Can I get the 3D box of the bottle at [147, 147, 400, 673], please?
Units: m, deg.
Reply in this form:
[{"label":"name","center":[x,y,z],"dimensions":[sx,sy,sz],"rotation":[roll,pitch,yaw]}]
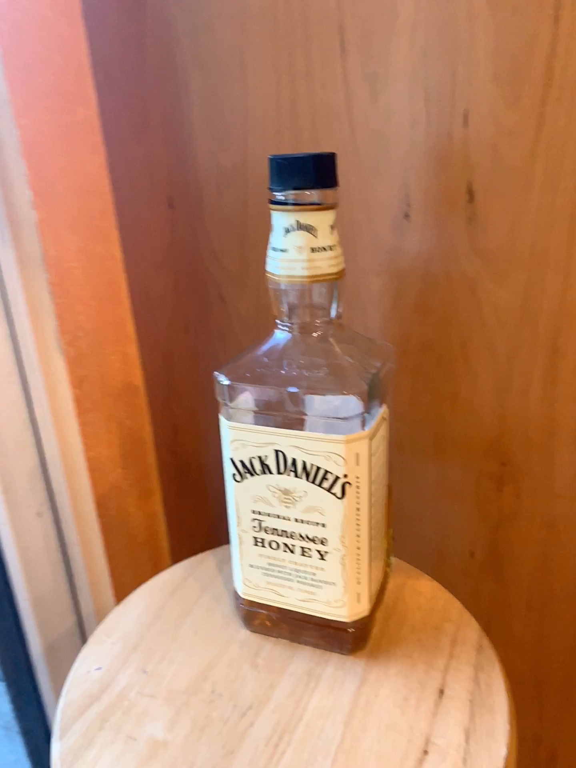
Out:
[{"label":"bottle","center":[0.006,0.019,0.405],"dimensions":[0.120,0.328,0.100],"rotation":[5,22,20]}]
